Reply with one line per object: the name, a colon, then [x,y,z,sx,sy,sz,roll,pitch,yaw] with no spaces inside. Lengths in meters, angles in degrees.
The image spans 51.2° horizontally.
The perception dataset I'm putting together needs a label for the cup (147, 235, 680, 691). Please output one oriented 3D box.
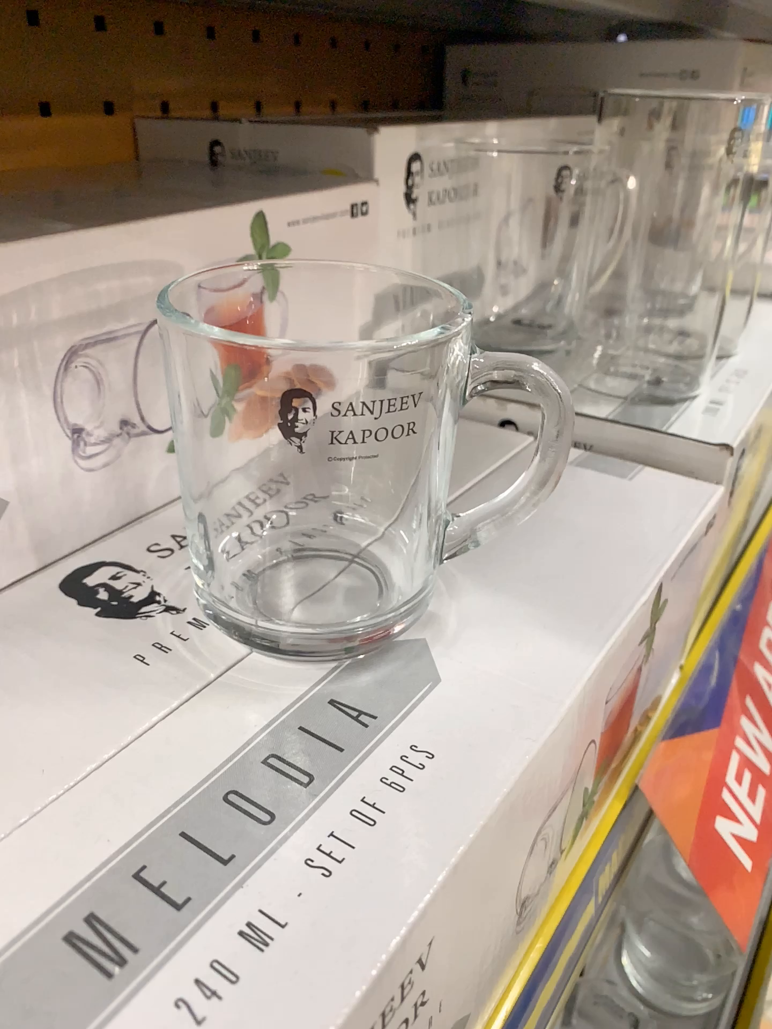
cup: [0.000,-0.020,0.197,0.100,0.080,0.070,-7,29,-17]
